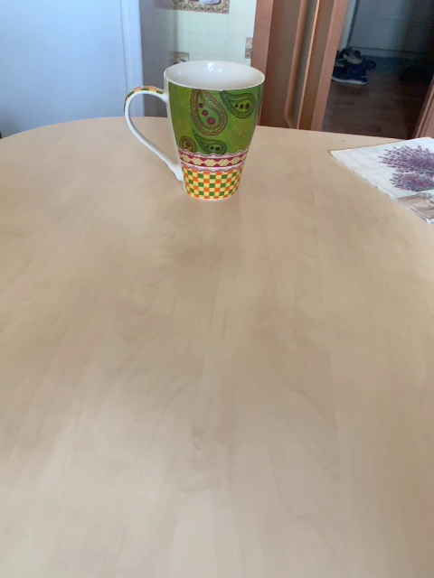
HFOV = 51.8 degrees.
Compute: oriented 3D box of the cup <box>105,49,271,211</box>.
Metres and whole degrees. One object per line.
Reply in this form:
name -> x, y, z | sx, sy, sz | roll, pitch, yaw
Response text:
cup -> -0.026, -0.154, 0.429 | 0.130, 0.109, 0.111 | 2, 40, -3
